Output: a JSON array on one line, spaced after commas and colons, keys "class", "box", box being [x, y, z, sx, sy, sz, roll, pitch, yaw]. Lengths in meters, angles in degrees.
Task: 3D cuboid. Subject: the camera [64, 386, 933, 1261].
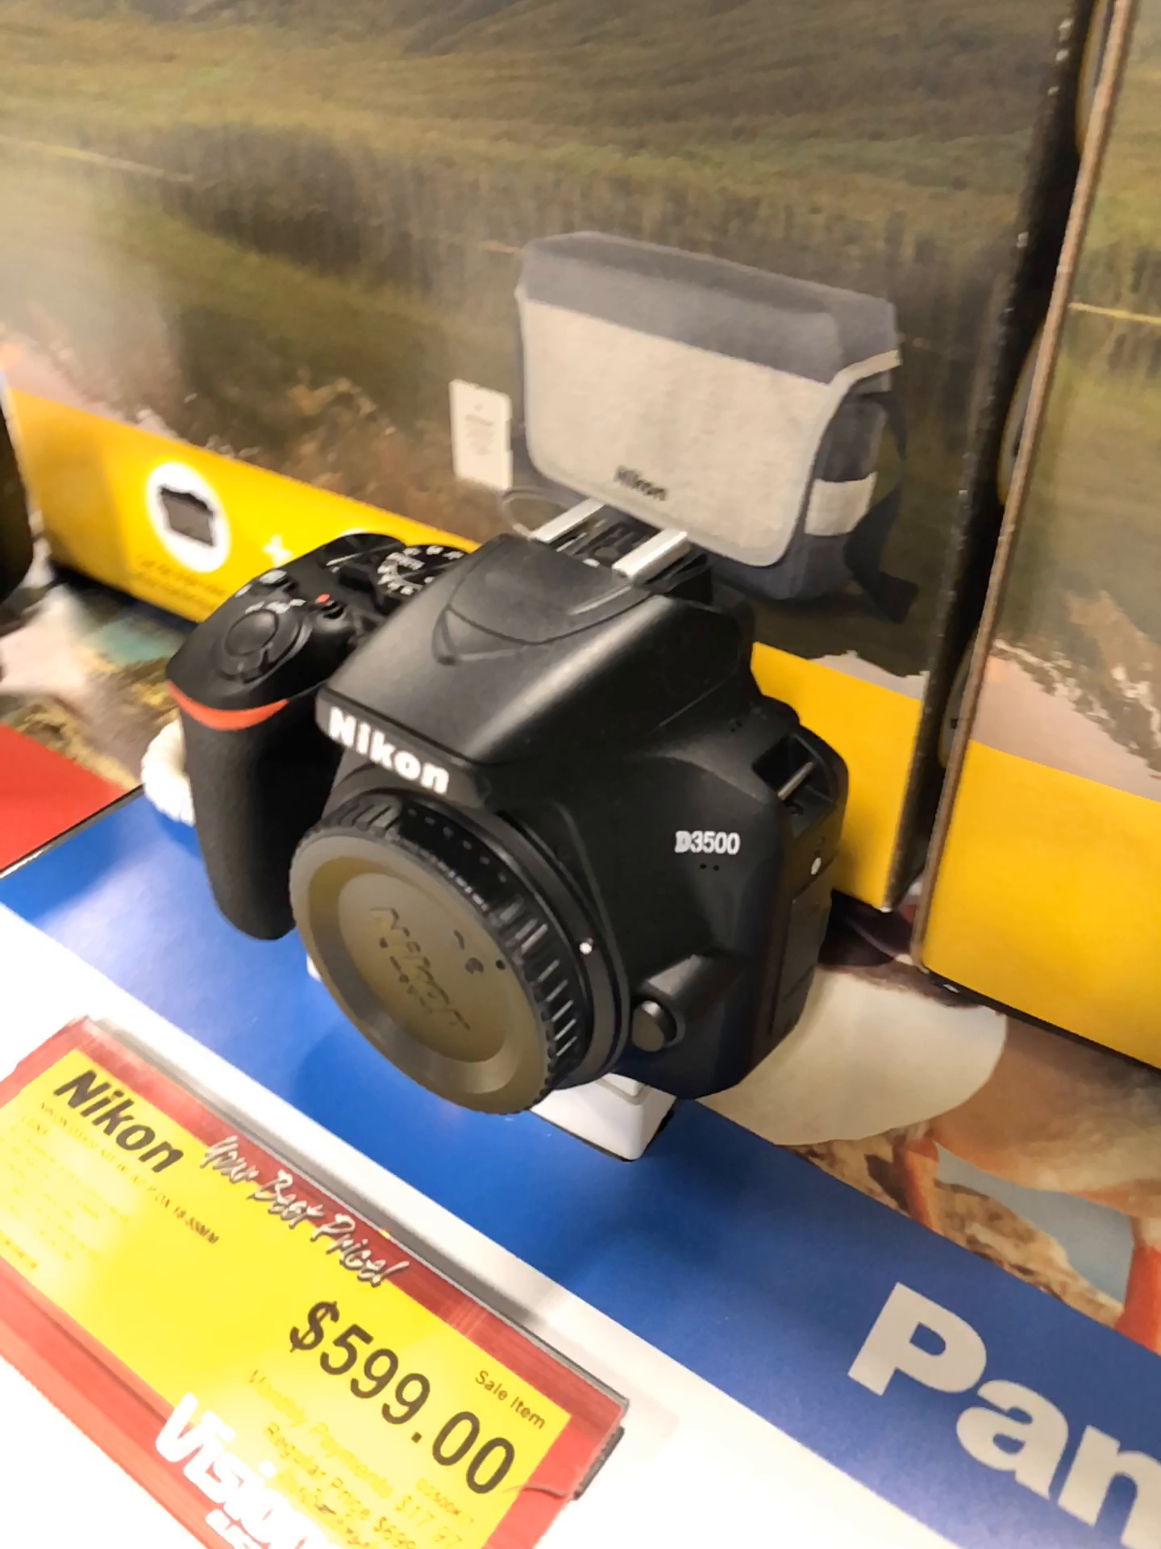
[{"class": "camera", "box": [-0.015, 0.000, 0.241, 0.120, 0.099, 0.080, 25, 42, 29]}]
